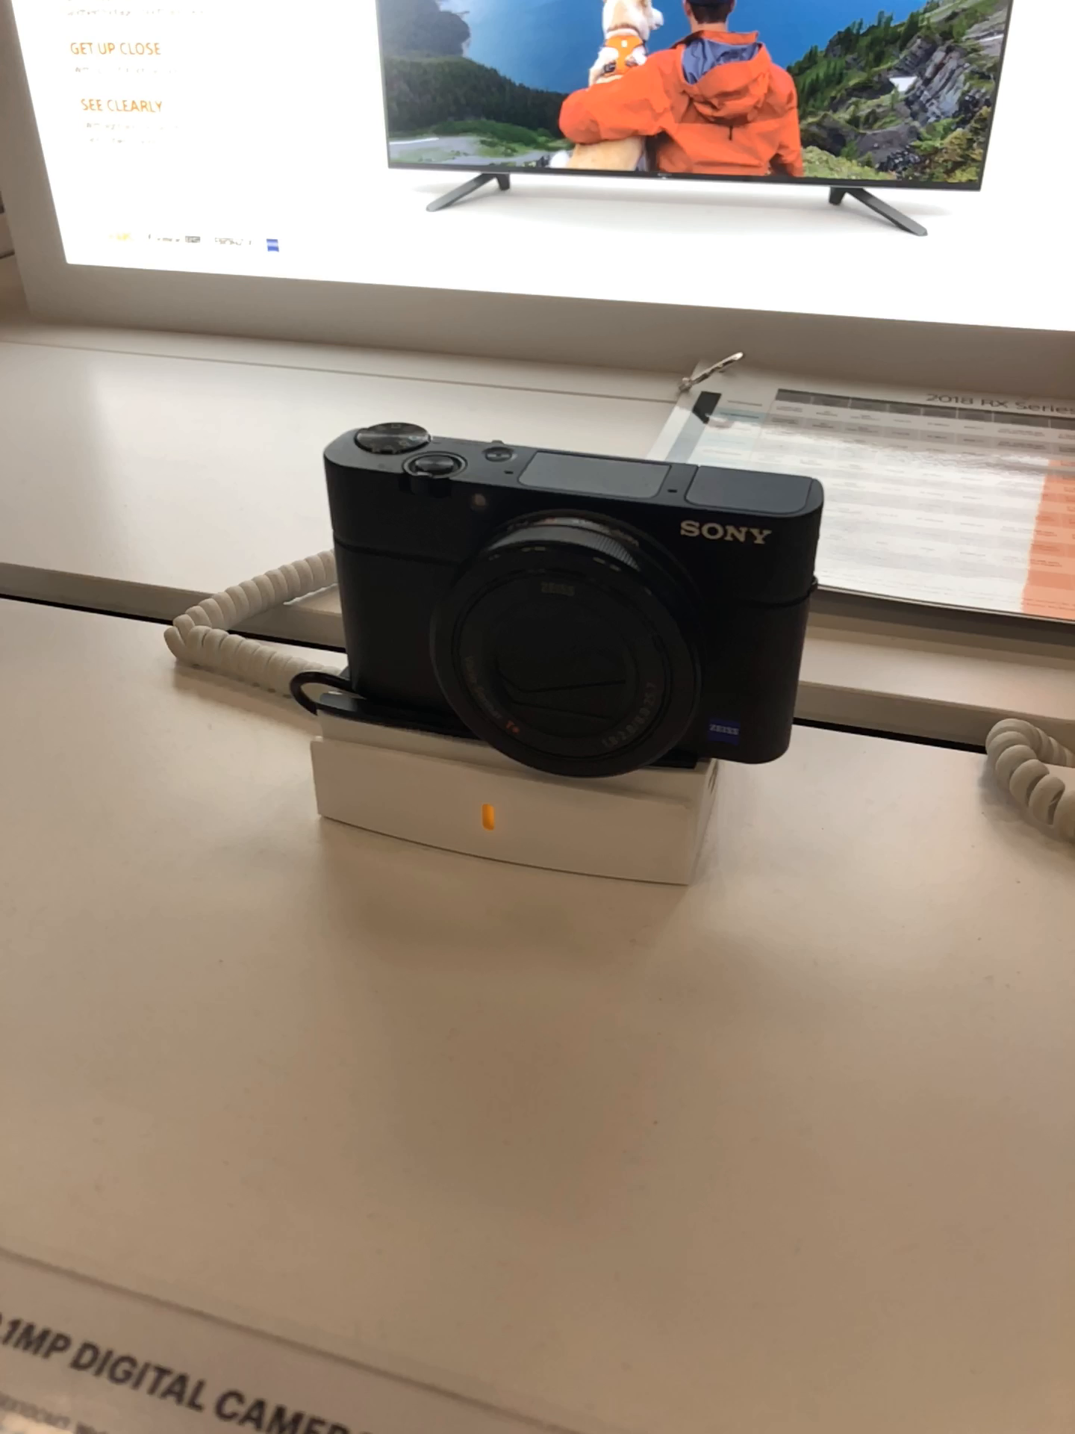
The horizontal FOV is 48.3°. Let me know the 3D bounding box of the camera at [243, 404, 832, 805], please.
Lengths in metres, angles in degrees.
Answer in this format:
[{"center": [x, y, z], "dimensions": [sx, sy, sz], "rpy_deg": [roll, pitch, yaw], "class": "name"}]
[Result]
[{"center": [0.001, -0.026, 0.254], "dimensions": [0.110, 0.060, 0.040], "rpy_deg": [9, 34, 14], "class": "camera"}]
